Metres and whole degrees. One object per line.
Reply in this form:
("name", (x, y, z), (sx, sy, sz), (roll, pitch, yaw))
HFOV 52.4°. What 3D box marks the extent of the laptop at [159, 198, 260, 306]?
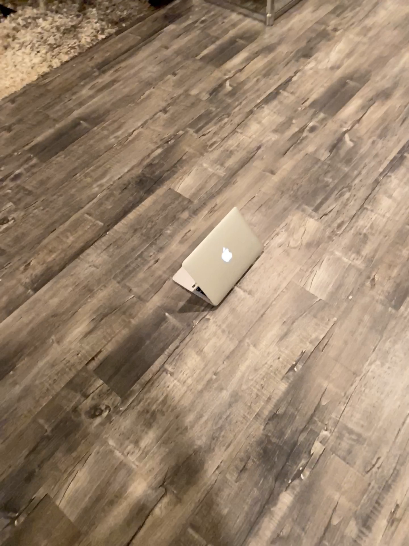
("laptop", (0.022, -0.076, 1.397), (0.193, 0.132, 0.292), (31, 63, 20))
